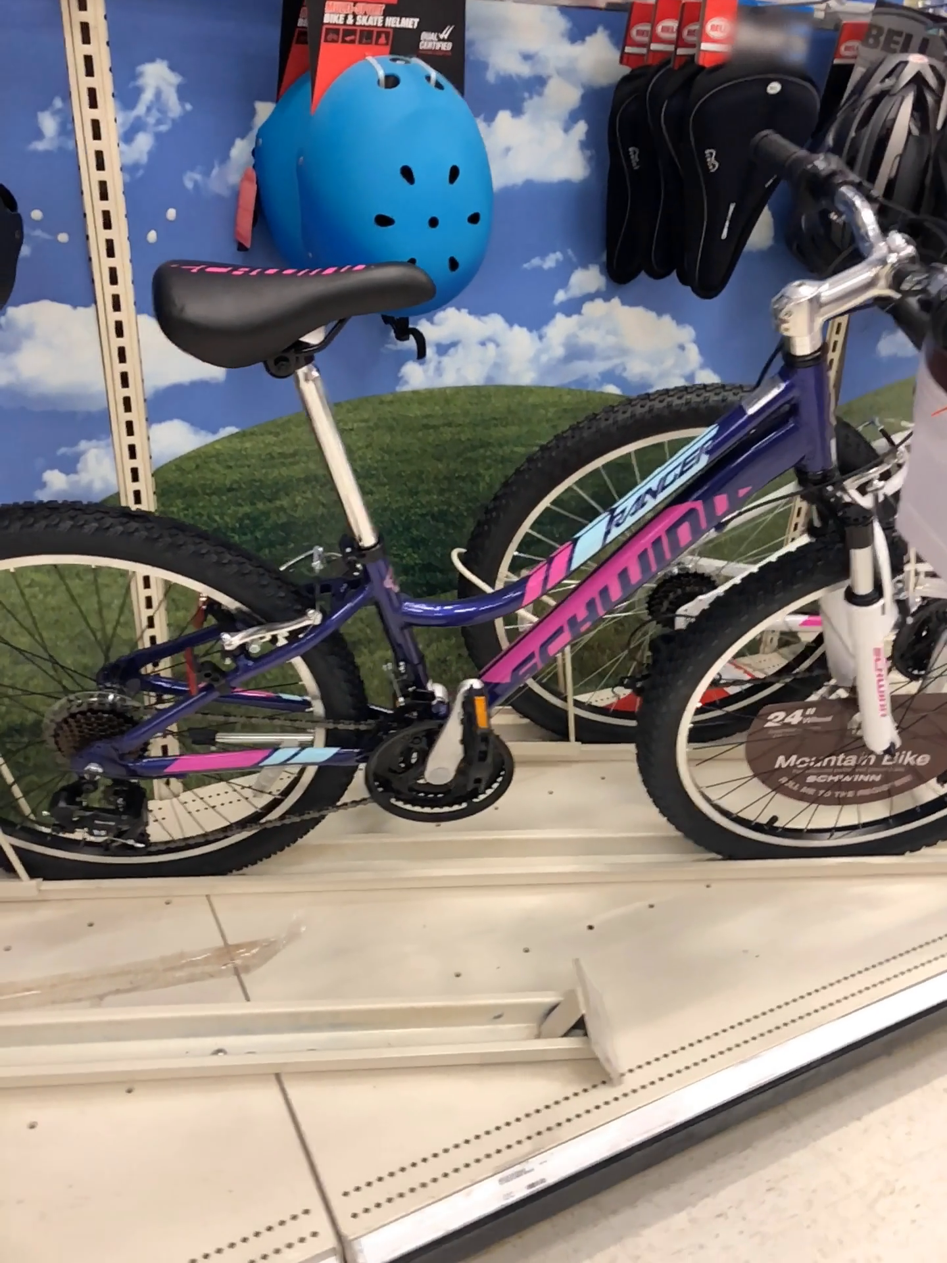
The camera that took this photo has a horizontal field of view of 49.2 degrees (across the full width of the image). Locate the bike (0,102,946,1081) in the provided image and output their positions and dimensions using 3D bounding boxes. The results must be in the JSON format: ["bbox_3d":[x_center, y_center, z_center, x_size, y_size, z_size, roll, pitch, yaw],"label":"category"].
[{"bbox_3d":[0.201,-0.071,1.064,1.222,0.798,0.571,2,28,0],"label":"bike"}]
